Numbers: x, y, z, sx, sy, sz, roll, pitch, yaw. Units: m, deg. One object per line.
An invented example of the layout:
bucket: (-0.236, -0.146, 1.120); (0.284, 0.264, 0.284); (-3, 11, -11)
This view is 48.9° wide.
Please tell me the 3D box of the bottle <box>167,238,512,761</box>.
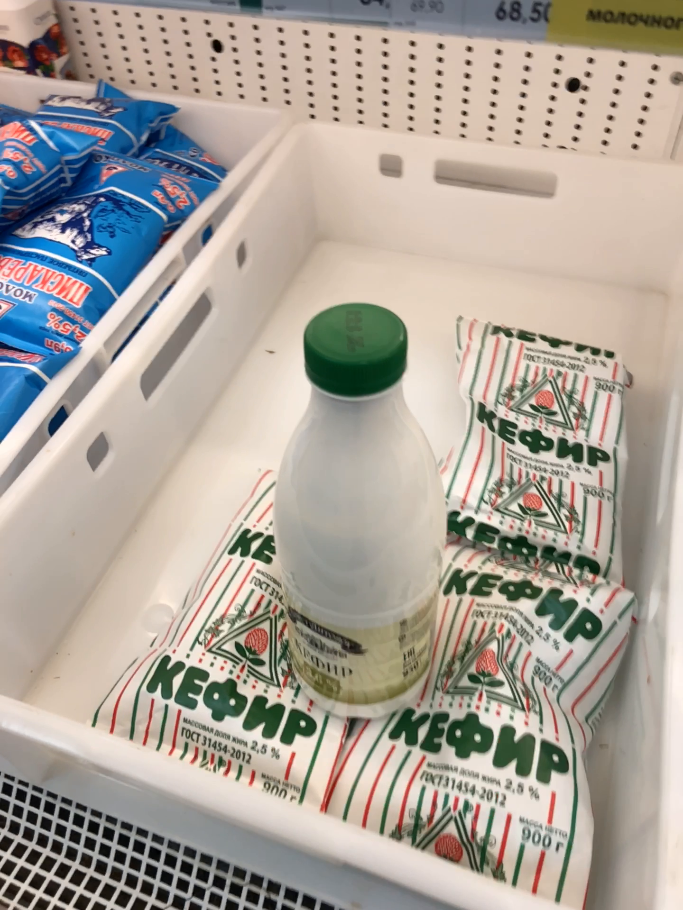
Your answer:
bottle: (0.008, 0.043, 0.375); (0.090, 0.269, 0.090); (-2, 50, 2)
